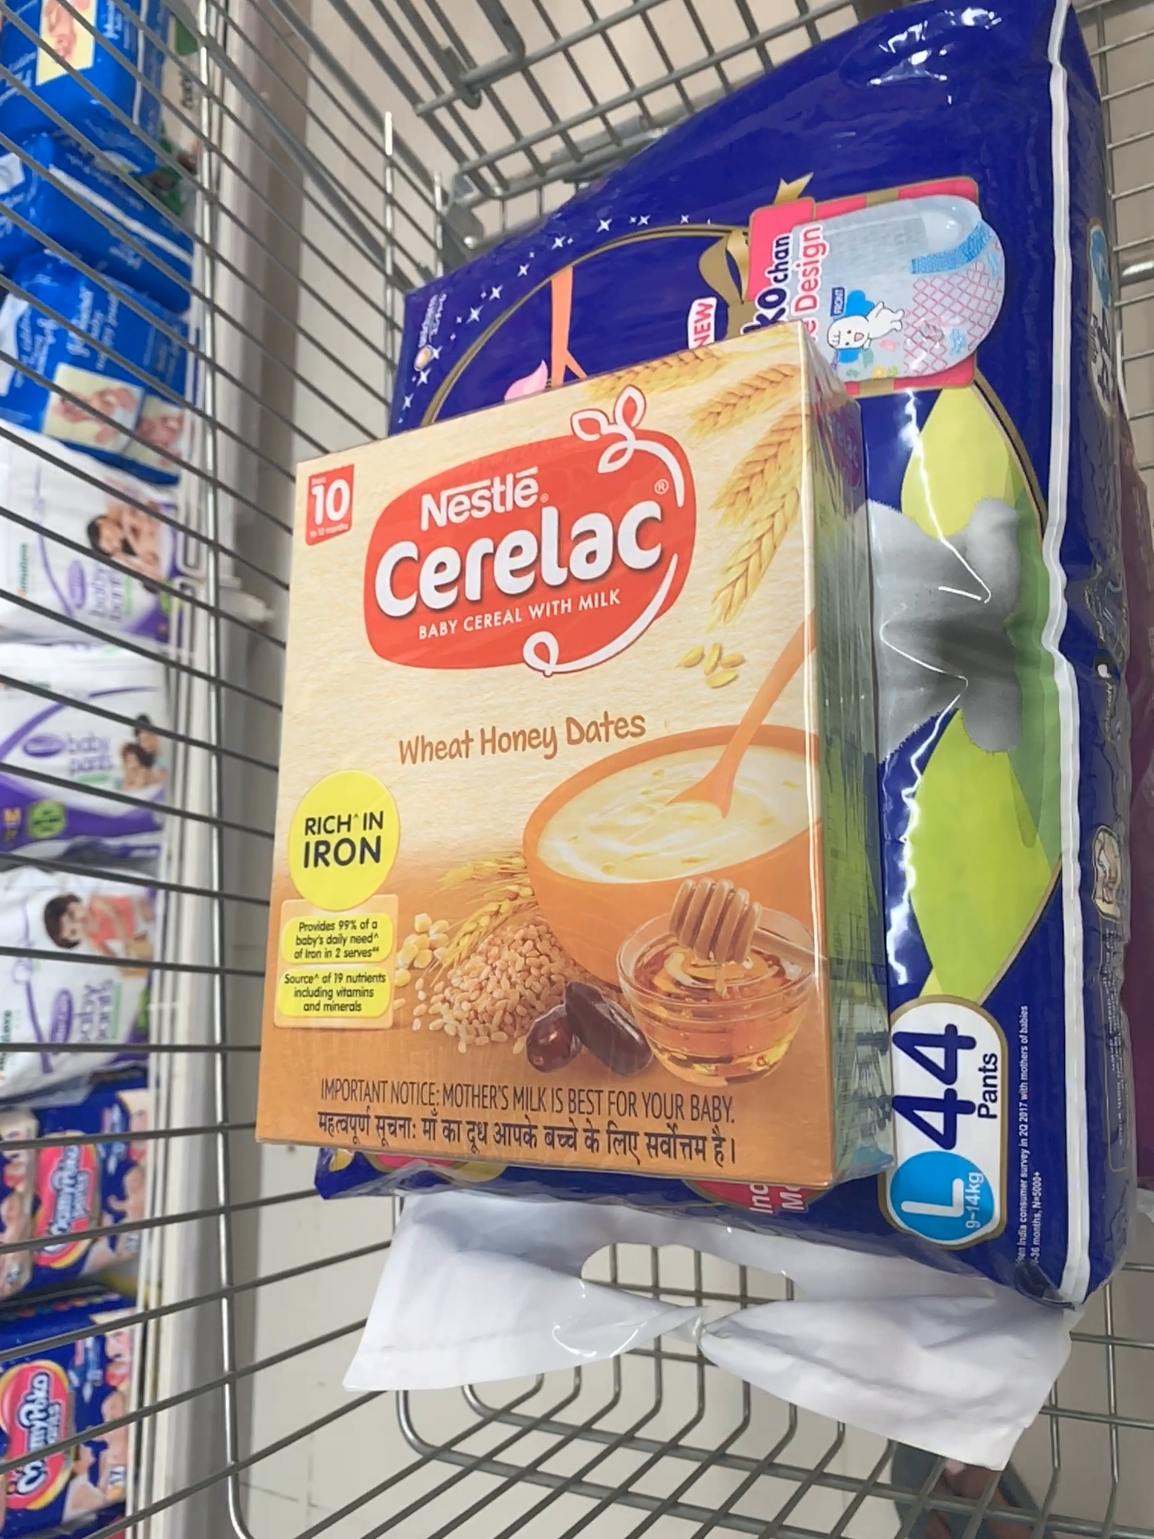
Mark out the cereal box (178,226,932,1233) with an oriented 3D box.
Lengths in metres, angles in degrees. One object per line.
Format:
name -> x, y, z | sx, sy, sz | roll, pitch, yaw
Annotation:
cereal box -> -0.009, -0.003, 0.284 | 0.161, 0.060, 0.190 | -6, 77, 29
